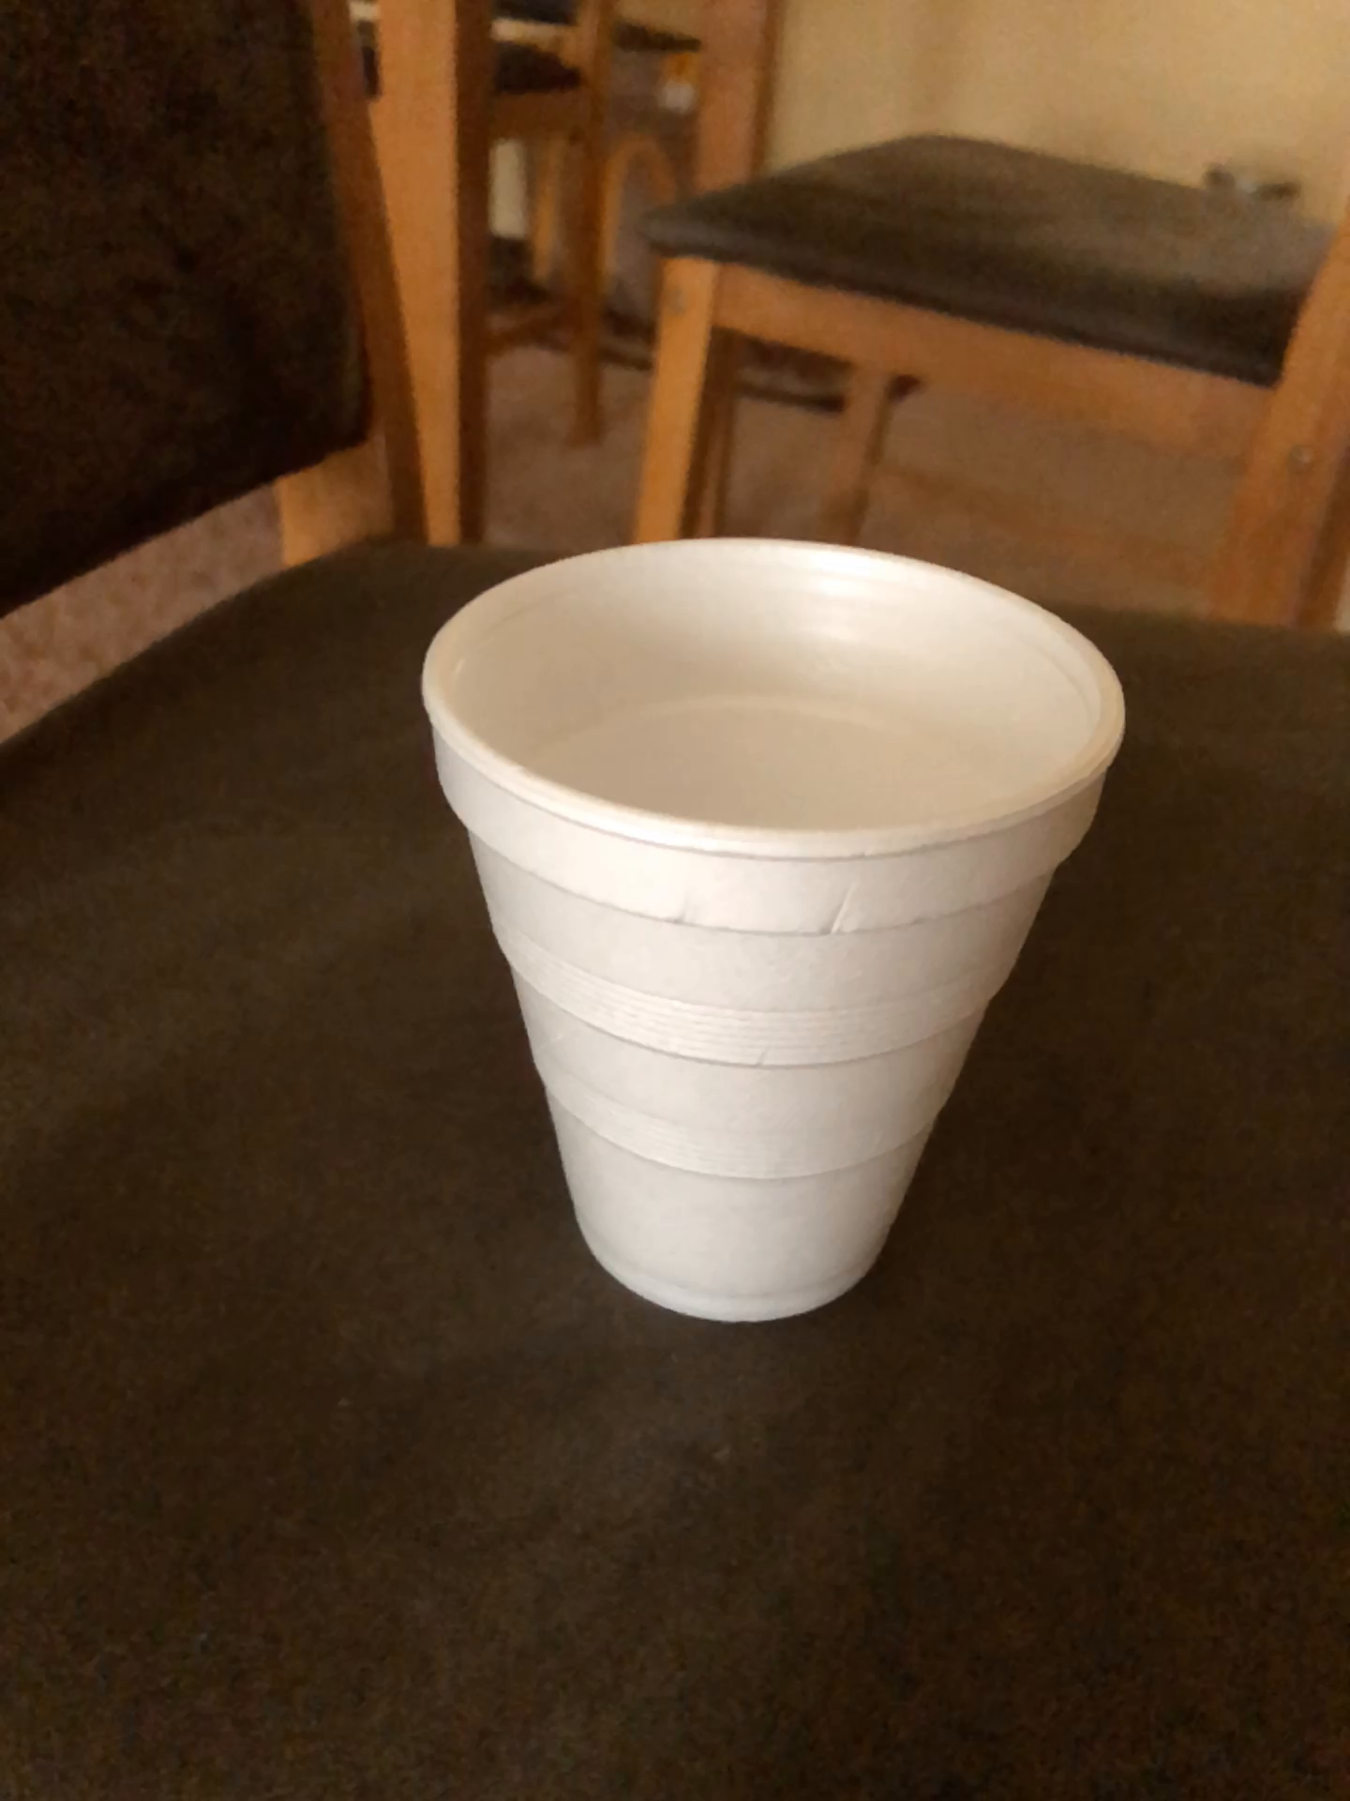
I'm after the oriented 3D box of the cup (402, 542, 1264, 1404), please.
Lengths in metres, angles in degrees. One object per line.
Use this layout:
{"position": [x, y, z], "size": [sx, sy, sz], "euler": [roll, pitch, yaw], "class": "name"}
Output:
{"position": [0.010, 0.006, 0.215], "size": [0.090, 0.080, 0.090], "euler": [3, 34, -2], "class": "cup"}
